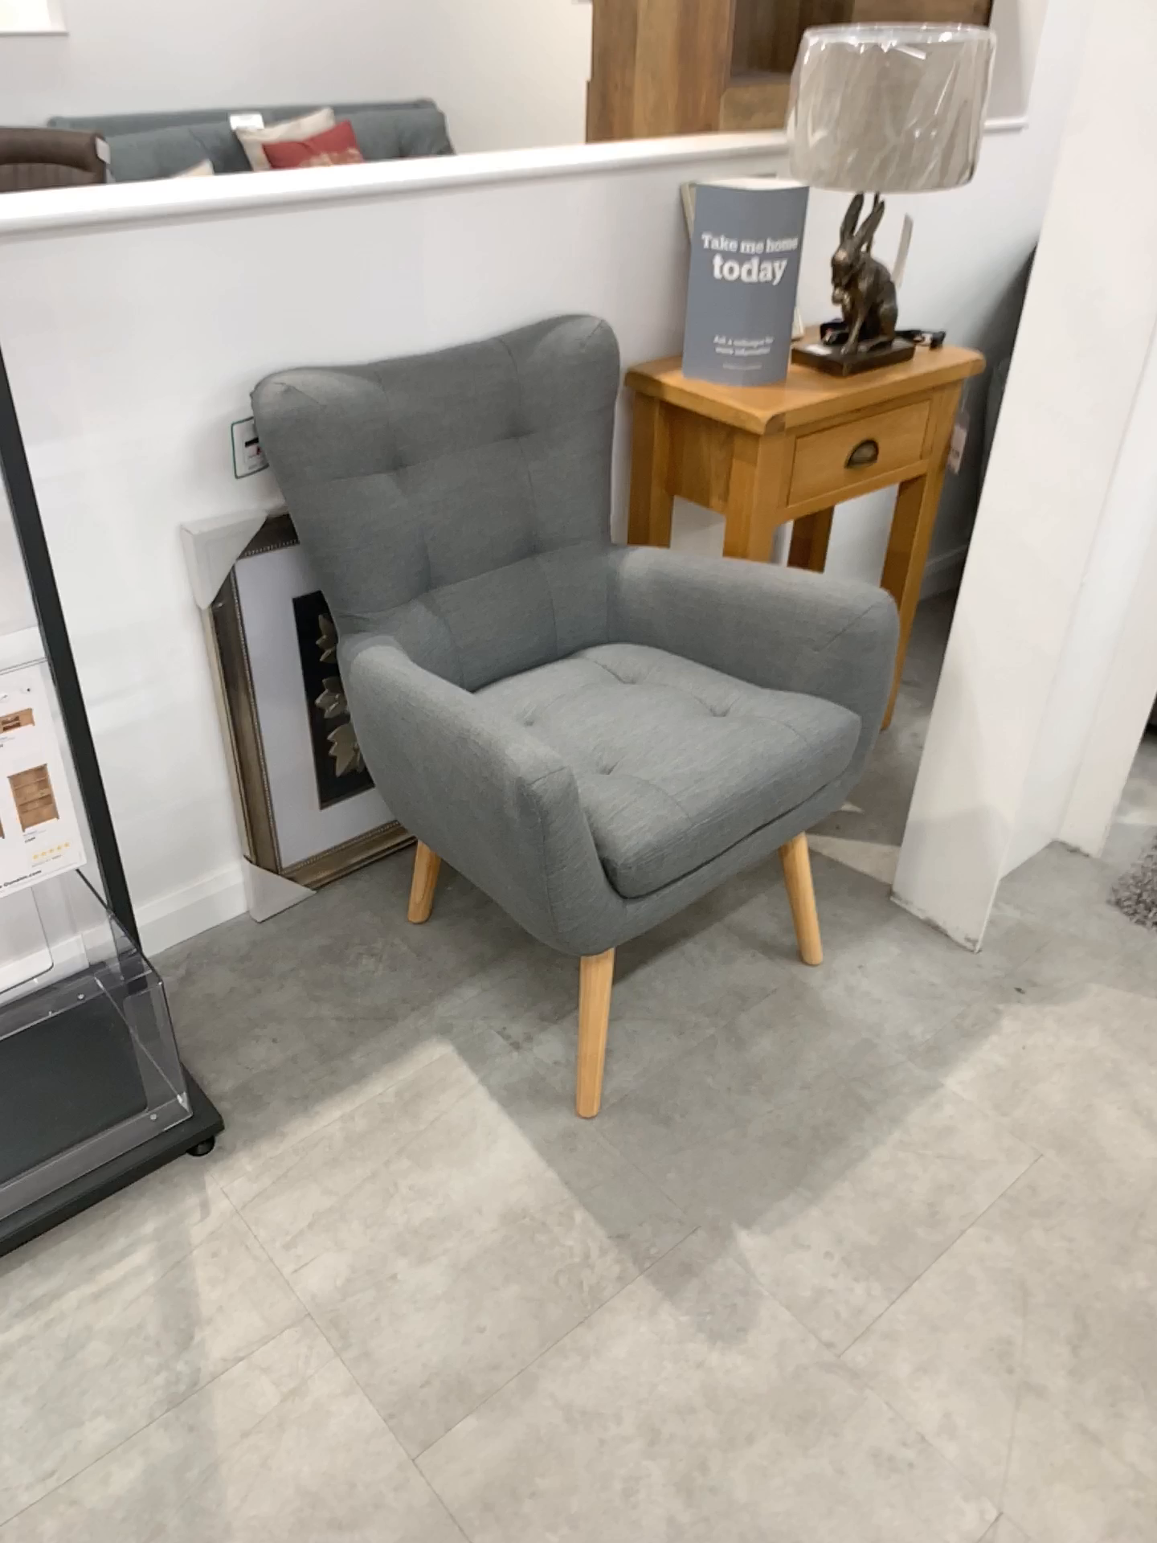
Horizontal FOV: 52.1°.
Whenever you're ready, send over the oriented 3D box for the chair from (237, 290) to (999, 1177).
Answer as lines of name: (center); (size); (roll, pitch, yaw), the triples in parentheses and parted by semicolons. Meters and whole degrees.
chair: (0.045, -0.098, 1.614); (0.710, 0.878, 0.541); (-25, 42, -34)
